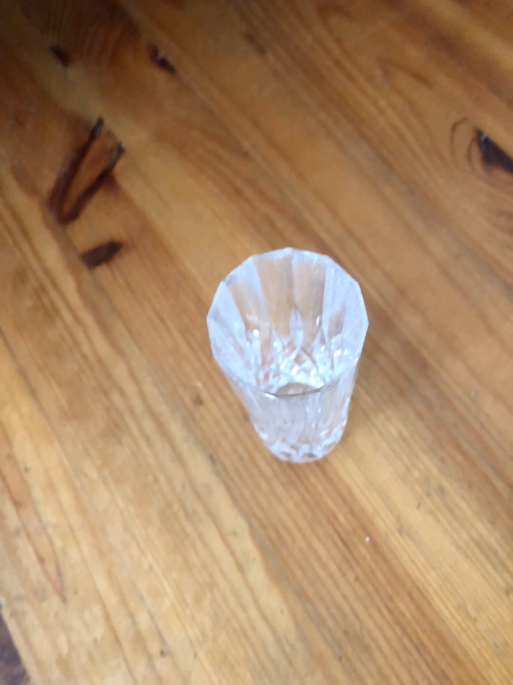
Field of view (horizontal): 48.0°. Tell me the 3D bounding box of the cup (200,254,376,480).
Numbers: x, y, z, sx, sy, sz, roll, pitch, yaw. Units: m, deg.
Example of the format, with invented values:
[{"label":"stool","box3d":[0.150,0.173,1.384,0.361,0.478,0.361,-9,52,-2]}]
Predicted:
[{"label":"cup","box3d":[0.017,0.023,0.274,0.059,0.145,0.064,-2,69,5]}]
